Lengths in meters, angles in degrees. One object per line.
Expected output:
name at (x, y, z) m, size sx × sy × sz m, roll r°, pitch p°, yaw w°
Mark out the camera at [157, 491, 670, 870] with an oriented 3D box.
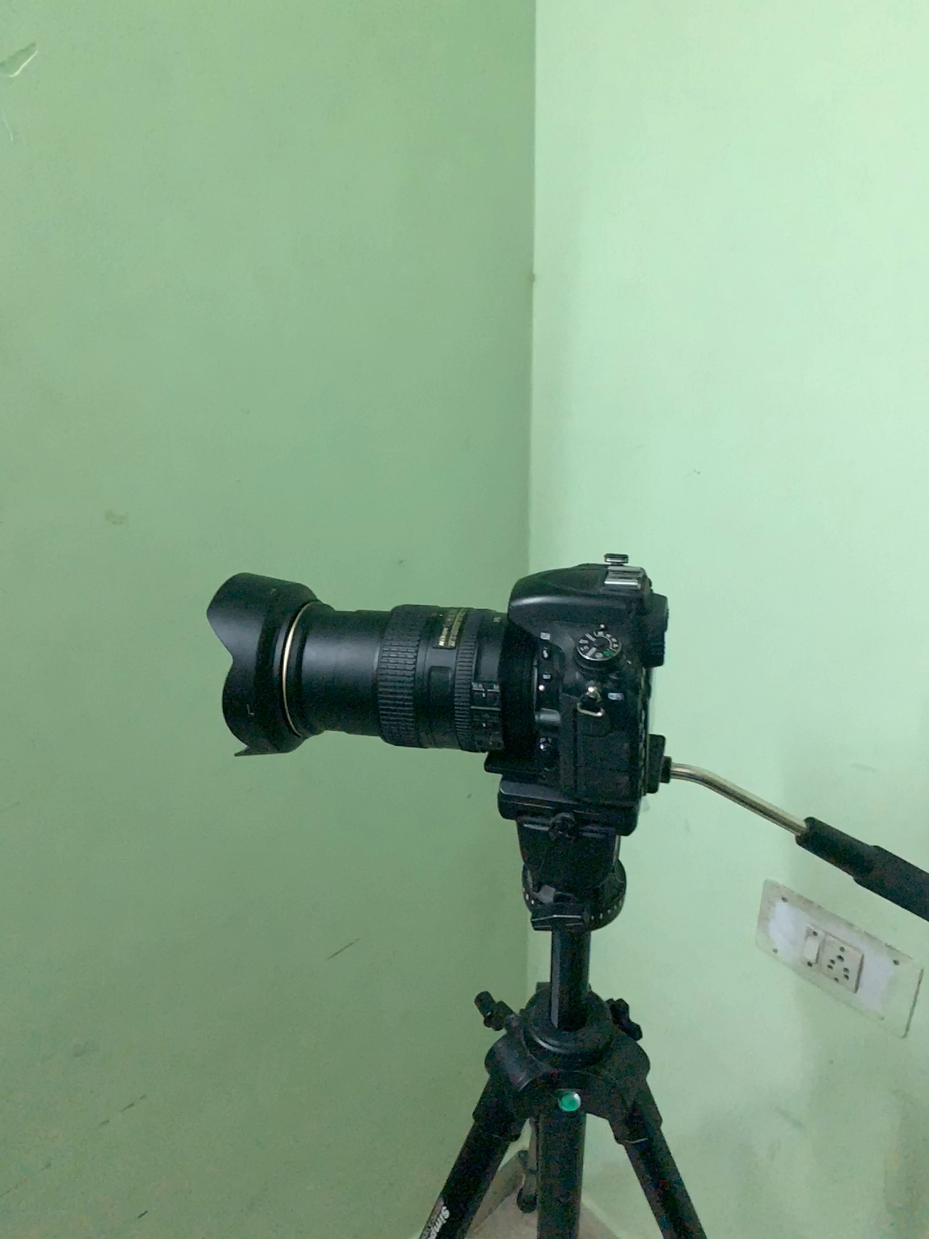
camera at (-0.015, 0.023, 0.561) m, size 0.250 × 0.131 × 0.164 m, roll 5°, pitch 29°, yaw 13°
